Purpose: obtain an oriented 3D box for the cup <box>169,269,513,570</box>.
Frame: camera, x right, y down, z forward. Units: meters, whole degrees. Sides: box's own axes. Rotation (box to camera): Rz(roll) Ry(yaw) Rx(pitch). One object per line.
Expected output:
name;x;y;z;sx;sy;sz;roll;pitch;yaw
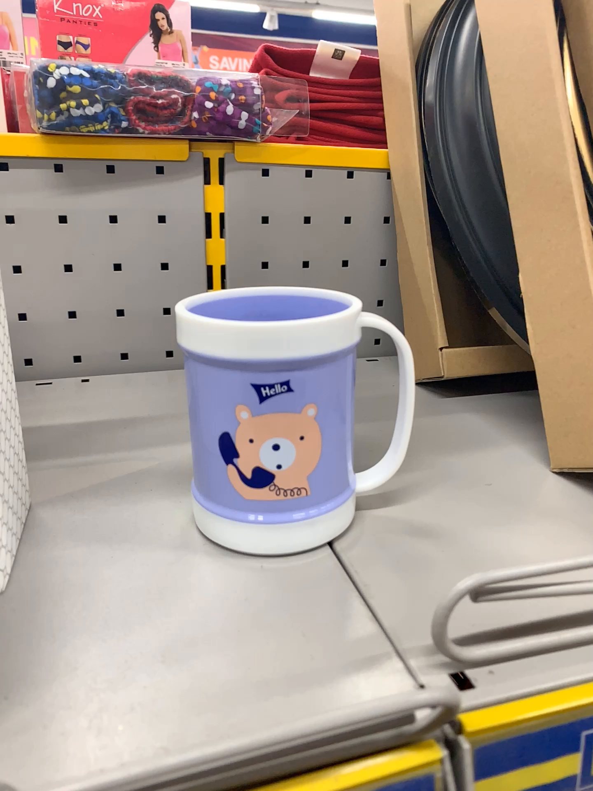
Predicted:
cup;0.009;0.002;0.266;0.120;0.100;0.090;-2;20;-9
